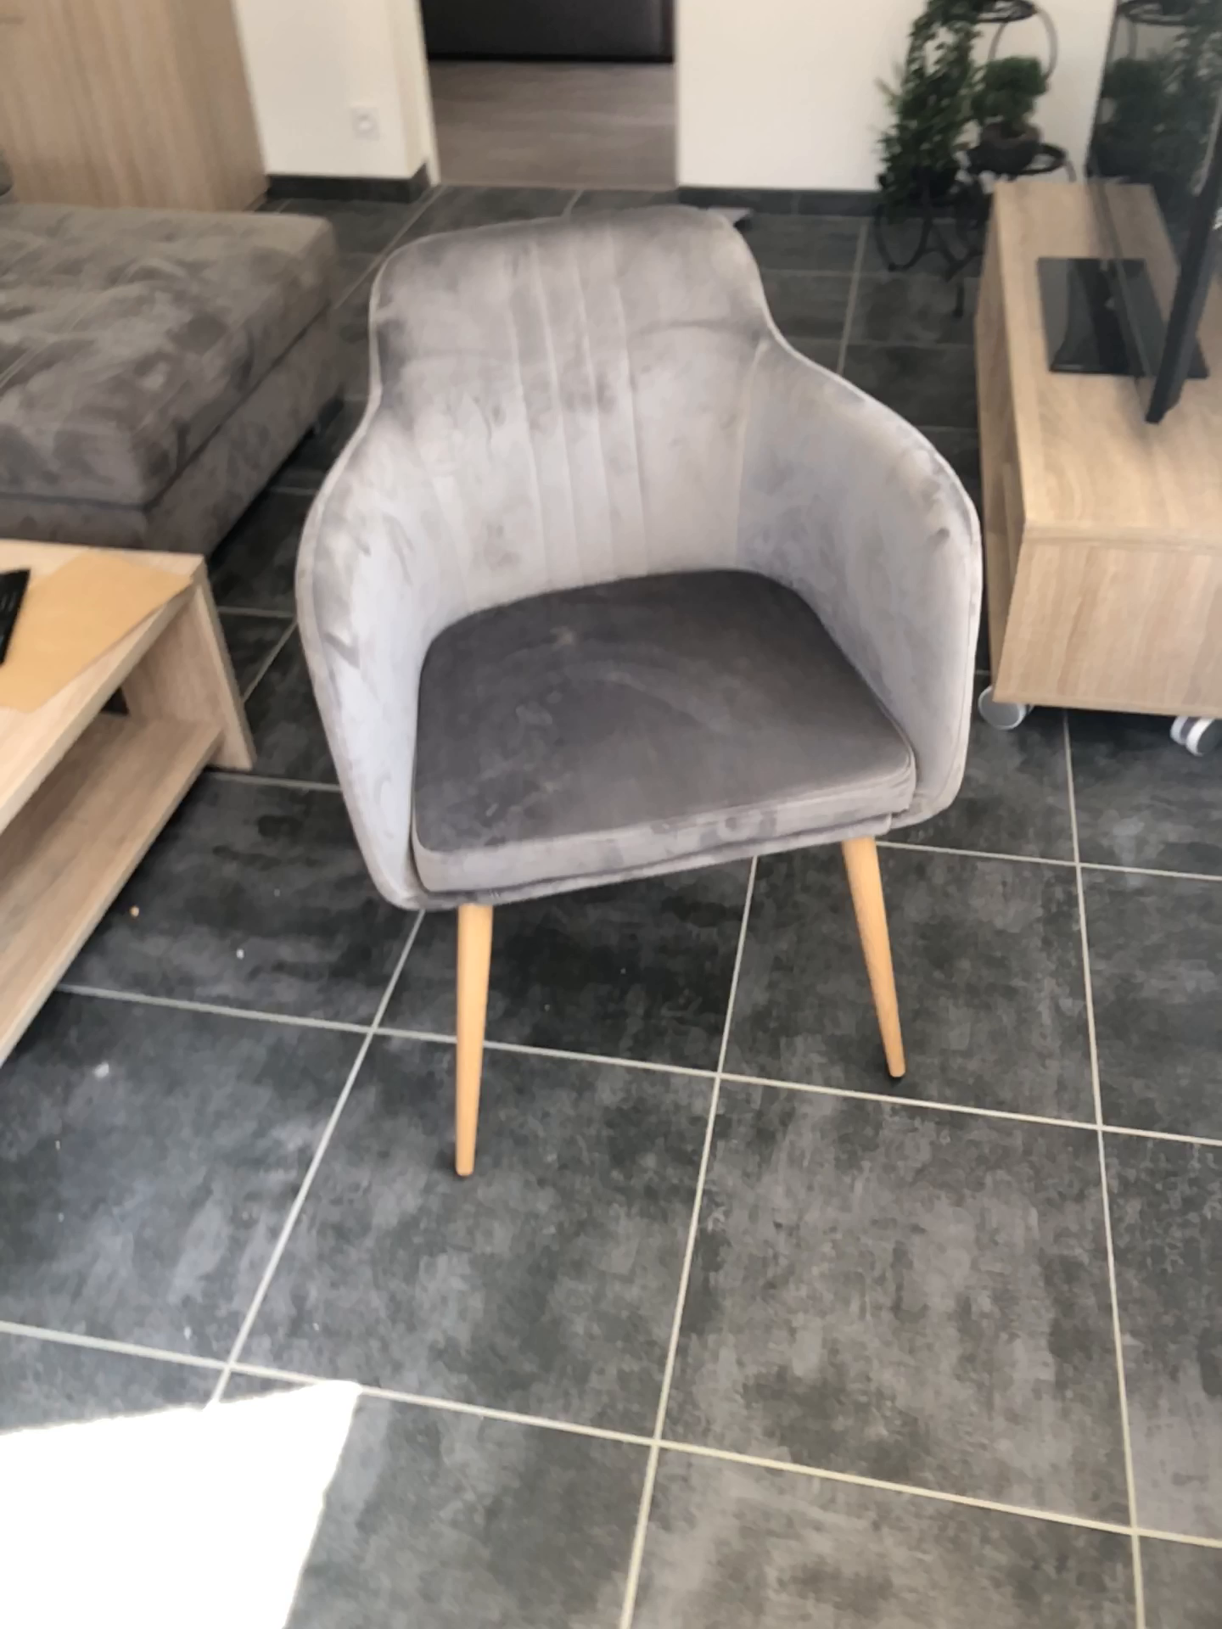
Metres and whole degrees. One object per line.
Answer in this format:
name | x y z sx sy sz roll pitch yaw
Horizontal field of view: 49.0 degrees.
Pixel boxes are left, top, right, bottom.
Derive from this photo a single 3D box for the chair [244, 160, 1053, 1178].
chair | -0.004 -0.152 1.443 0.591 0.825 0.583 -10 41 -8
